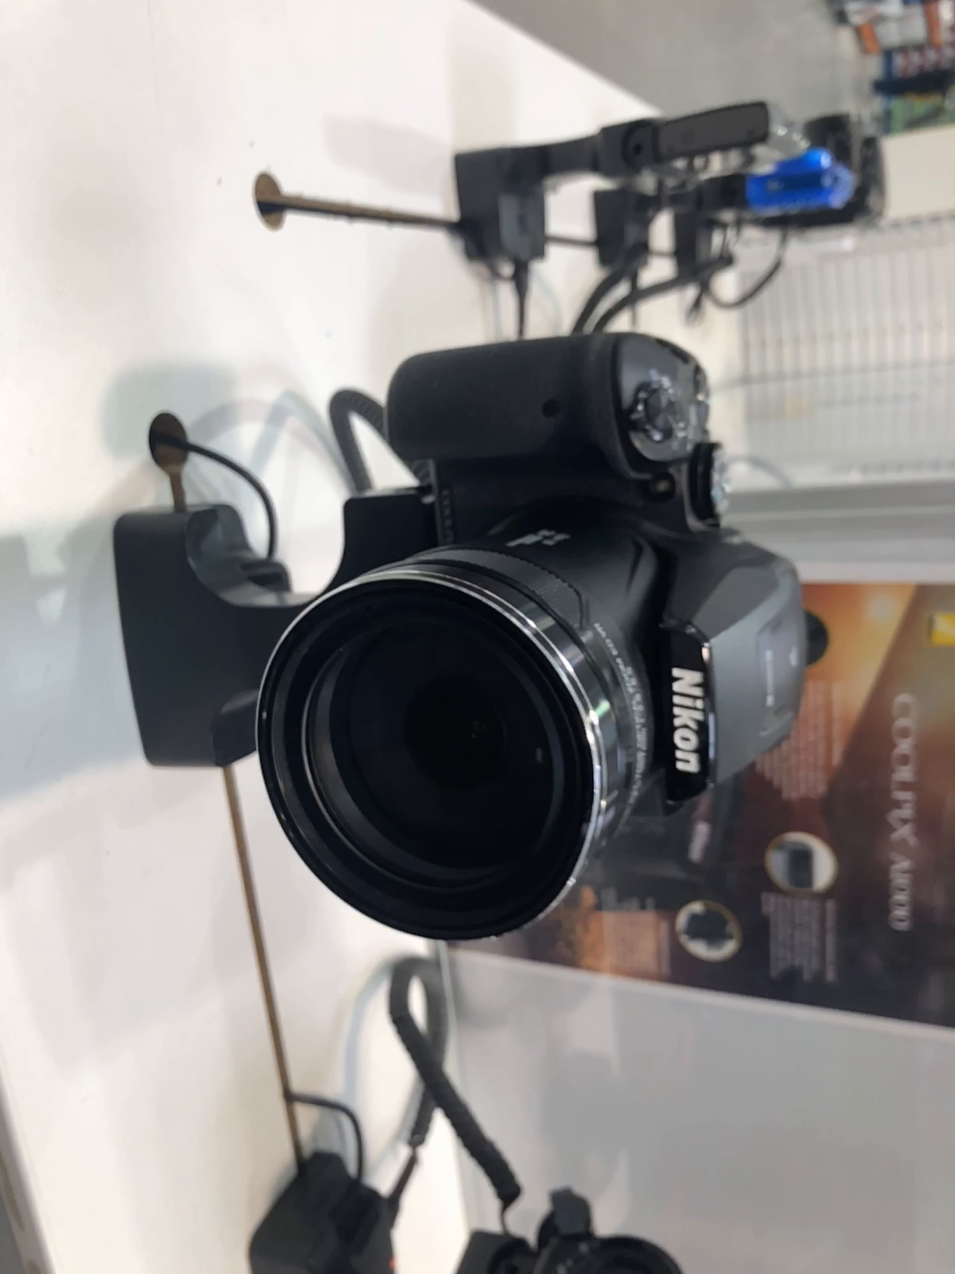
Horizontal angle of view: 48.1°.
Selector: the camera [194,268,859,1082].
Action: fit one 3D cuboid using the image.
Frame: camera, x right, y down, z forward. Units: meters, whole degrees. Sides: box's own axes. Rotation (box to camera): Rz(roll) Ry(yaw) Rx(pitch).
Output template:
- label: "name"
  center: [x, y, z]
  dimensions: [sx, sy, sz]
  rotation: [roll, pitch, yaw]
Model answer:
- label: "camera"
  center: [0.031, -0.005, 0.267]
  dimensions: [0.151, 0.109, 0.140]
  rotation: [-30, 118, -63]
